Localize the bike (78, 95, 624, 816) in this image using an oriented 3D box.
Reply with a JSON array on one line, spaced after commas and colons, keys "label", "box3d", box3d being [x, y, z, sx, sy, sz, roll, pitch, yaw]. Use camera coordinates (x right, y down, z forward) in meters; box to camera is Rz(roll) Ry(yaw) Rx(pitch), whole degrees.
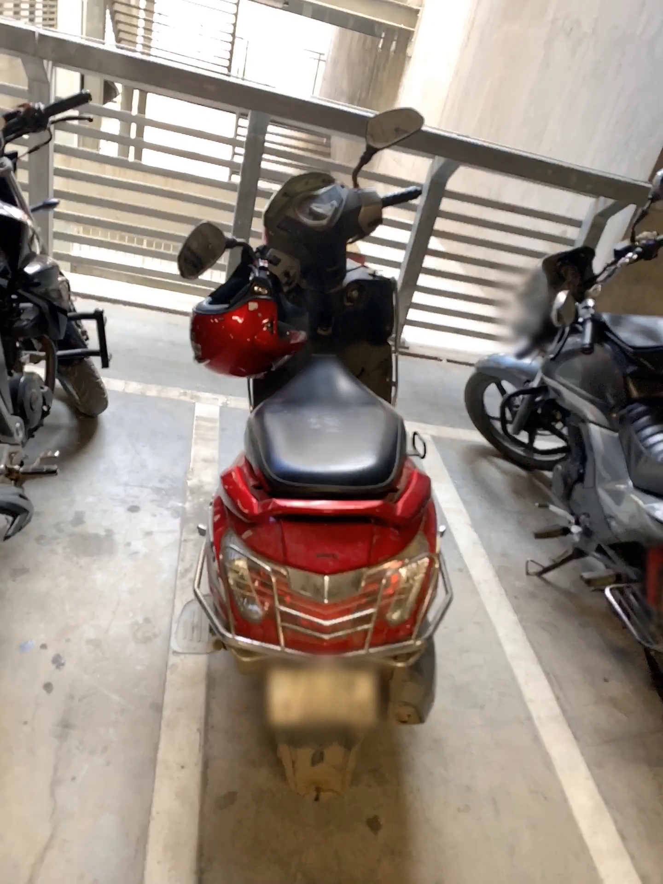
[{"label": "bike", "box3d": [-0.171, -0.177, 1.960, 0.725, 1.165, 1.857, 8, 32, -13]}]
